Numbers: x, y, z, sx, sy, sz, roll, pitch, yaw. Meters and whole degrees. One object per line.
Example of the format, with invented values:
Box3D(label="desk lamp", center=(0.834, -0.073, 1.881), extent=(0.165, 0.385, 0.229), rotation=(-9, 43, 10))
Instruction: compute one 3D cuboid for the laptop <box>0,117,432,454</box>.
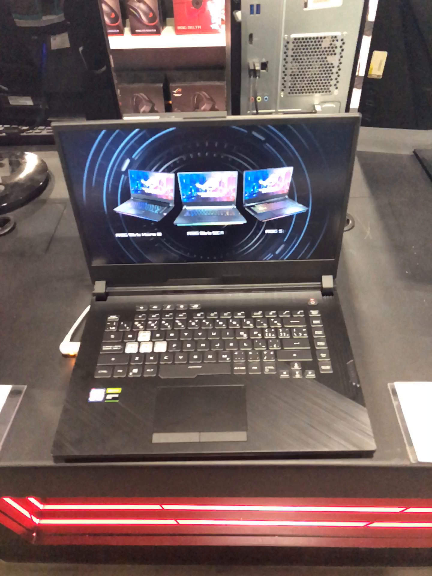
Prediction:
Box3D(label="laptop", center=(-0.010, -0.007, 0.522), extent=(0.349, 0.243, 0.281), rotation=(-1, 44, 1))
